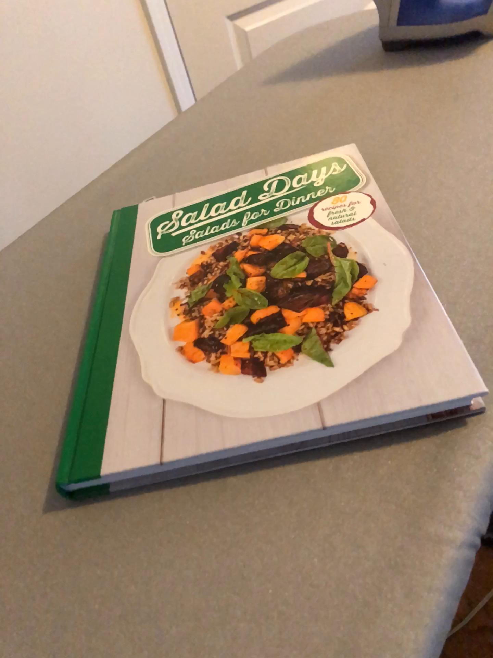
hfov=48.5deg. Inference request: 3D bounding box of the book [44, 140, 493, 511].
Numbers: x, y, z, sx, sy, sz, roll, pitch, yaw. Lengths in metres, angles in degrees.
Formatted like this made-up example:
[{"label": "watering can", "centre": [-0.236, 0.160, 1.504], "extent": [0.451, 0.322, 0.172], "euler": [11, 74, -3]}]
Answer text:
[{"label": "book", "centre": [-0.001, -0.031, 0.358], "extent": [0.213, 0.020, 0.276], "euler": [-13, 41, 6]}]
